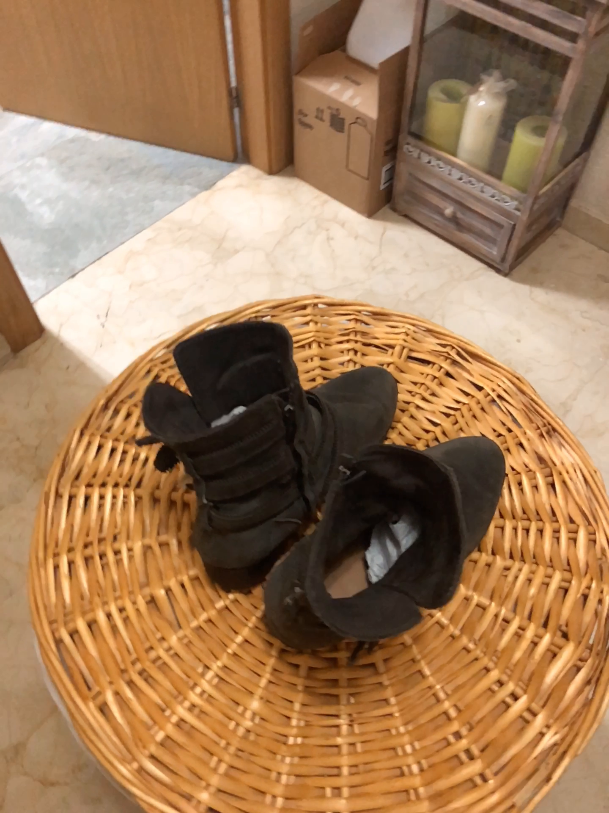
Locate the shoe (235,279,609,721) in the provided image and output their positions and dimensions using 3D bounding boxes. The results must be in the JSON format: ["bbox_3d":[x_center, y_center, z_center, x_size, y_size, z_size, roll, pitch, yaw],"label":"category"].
[{"bbox_3d":[0.082,0.067,0.474,0.110,0.170,0.260,39,64,15],"label":"shoe"}]

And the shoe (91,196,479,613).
[{"bbox_3d":[-0.002,-0.003,0.512,0.110,0.170,0.260,35,63,22],"label":"shoe"}]
